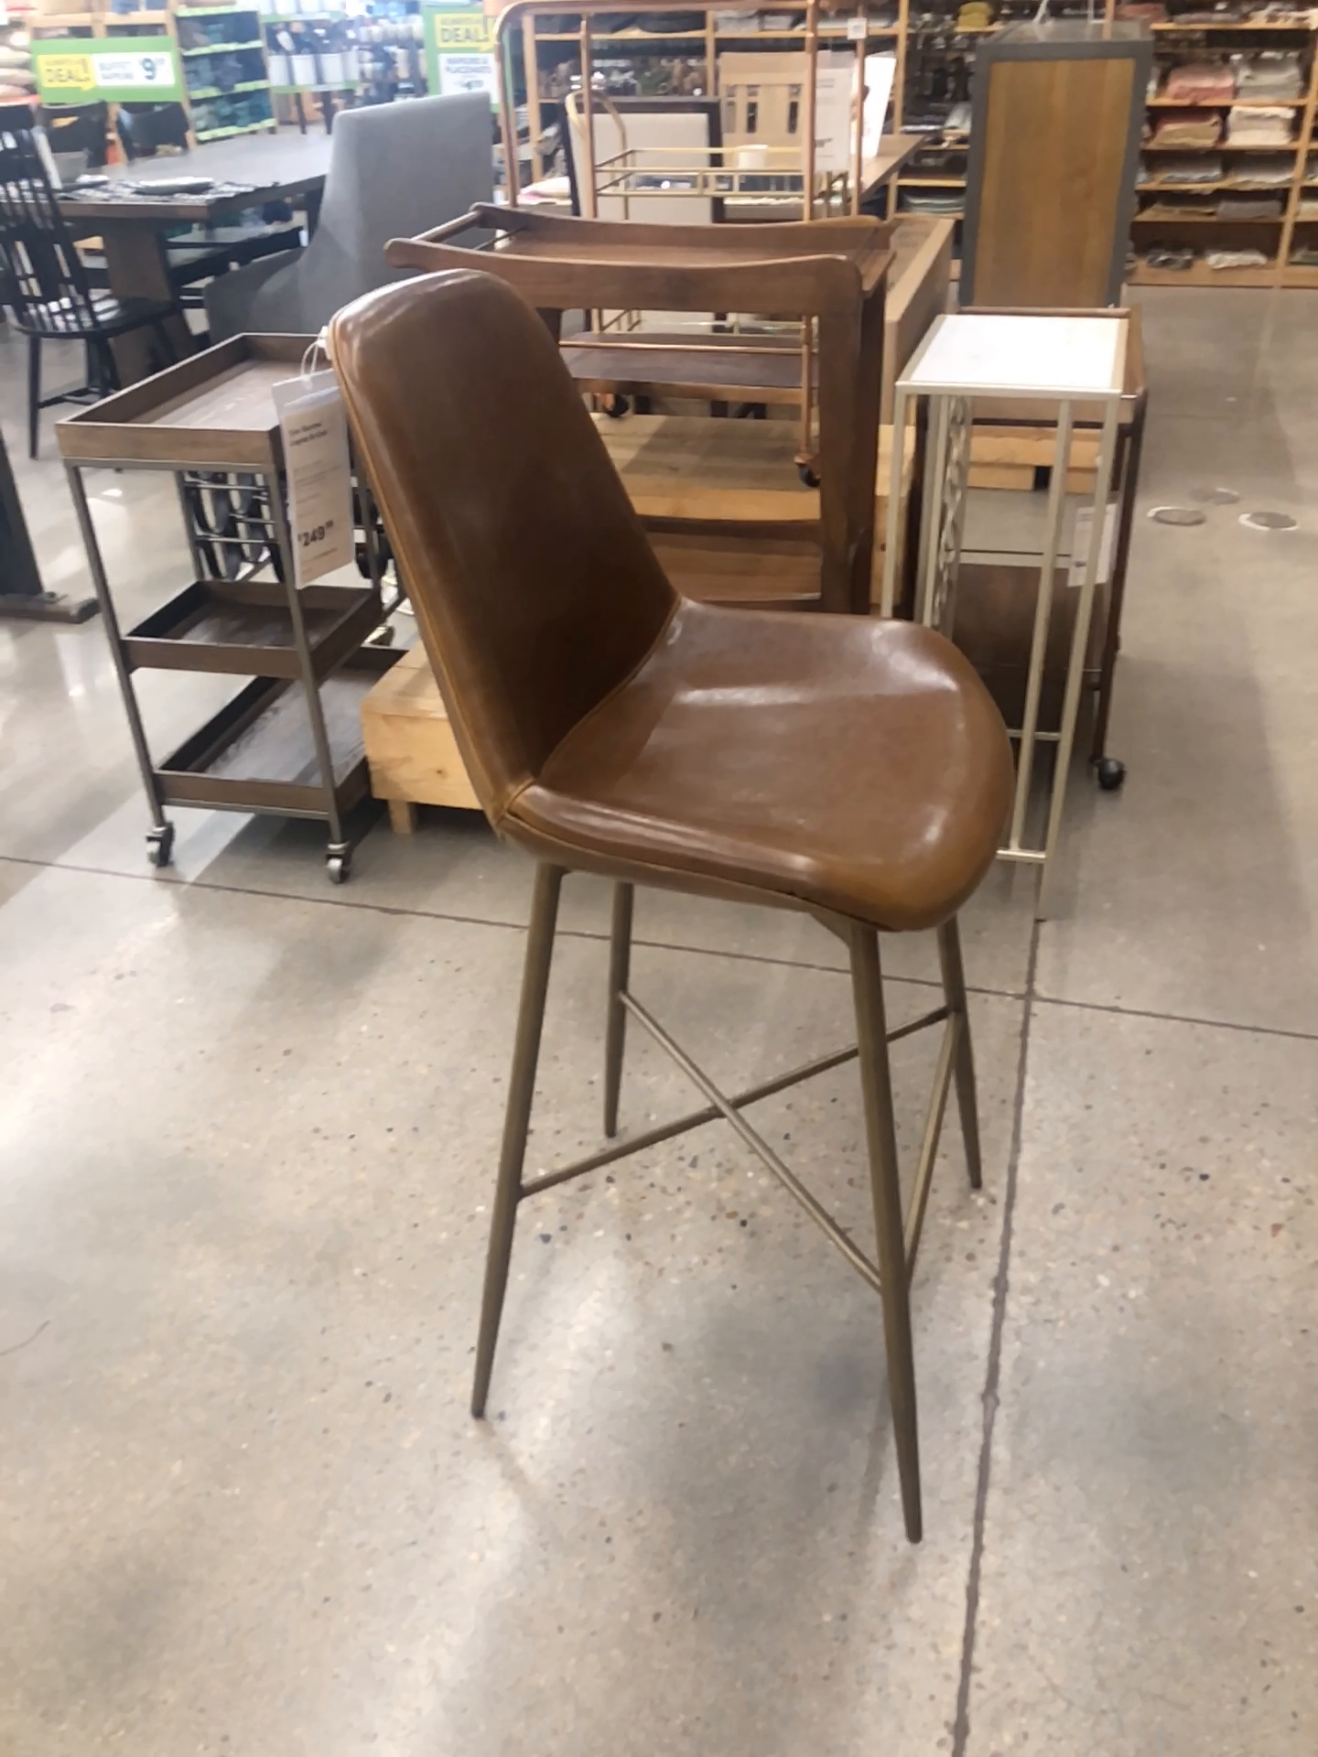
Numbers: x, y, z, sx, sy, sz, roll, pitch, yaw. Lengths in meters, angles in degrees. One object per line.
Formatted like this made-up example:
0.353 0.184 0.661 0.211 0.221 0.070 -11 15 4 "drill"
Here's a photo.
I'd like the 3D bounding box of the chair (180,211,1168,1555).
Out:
0.080 -0.015 1.382 0.610 1.054 0.605 8 34 15 "chair"
